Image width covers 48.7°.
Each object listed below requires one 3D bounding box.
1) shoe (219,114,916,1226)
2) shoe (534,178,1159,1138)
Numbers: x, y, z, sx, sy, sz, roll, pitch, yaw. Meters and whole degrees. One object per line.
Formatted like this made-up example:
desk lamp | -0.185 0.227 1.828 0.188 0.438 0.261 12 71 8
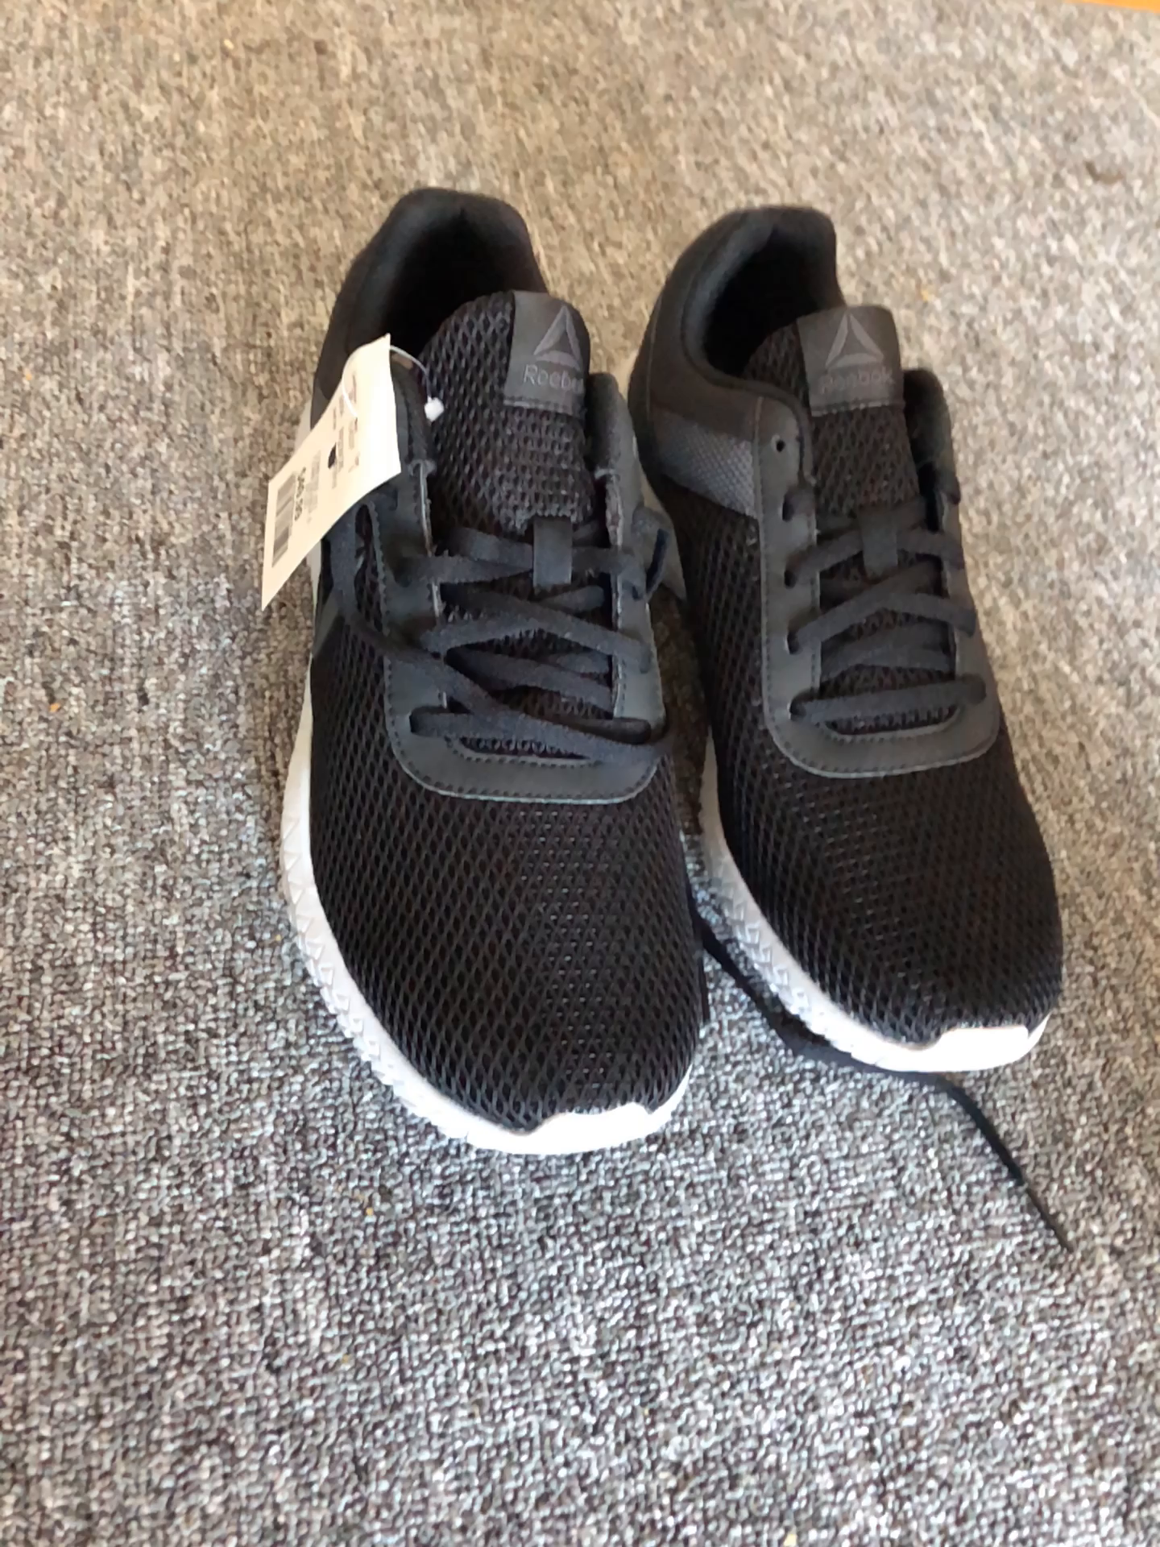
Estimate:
shoe | -0.029 -0.048 0.362 0.116 0.099 0.302 -5 58 -16
shoe | 0.080 -0.055 0.414 0.110 0.099 0.302 -6 58 -17
